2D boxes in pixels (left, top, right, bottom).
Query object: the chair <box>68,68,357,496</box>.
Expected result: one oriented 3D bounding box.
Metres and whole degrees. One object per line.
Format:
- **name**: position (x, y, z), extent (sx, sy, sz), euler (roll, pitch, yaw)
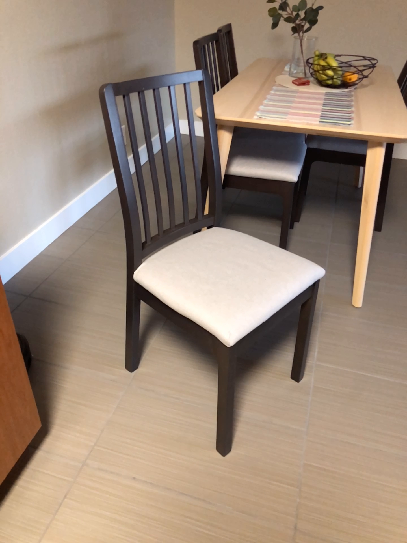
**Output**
- **chair**: position (0.006, 0.037, 1.386), extent (0.481, 1.124, 0.511), euler (-27, 42, -36)
